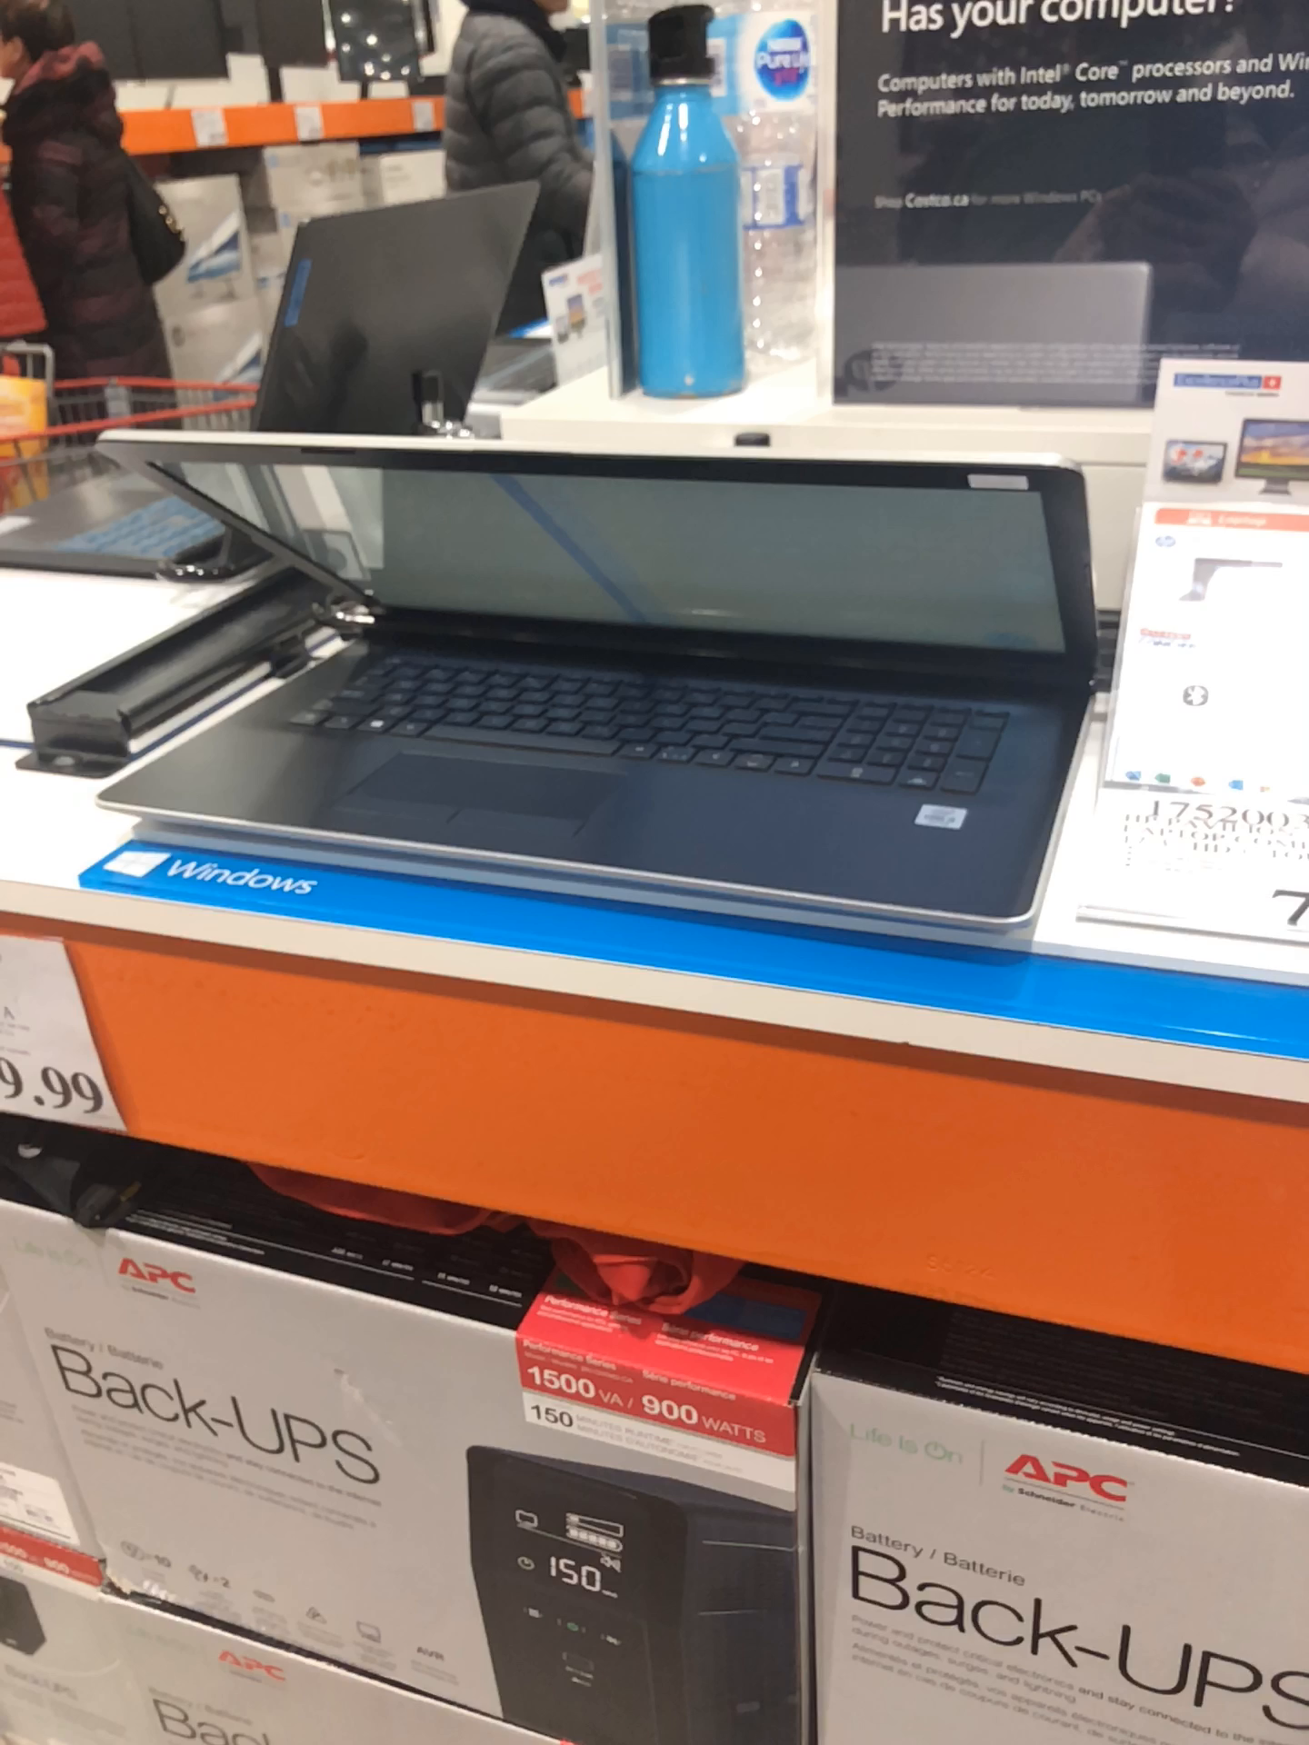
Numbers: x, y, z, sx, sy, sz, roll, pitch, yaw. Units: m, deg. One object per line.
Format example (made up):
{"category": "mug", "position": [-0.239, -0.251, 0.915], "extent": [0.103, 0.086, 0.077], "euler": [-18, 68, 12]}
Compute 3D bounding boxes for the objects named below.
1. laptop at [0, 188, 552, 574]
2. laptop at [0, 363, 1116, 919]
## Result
{"category": "laptop", "position": [-0.304, -0.386, 1.092], "extent": [0.330, 0.212, 0.341], "euler": [7, 29, 17]}
{"category": "laptop", "position": [-0.023, -0.131, 0.646], "extent": [0.406, 0.150, 0.258], "euler": [7, 28, 20]}
